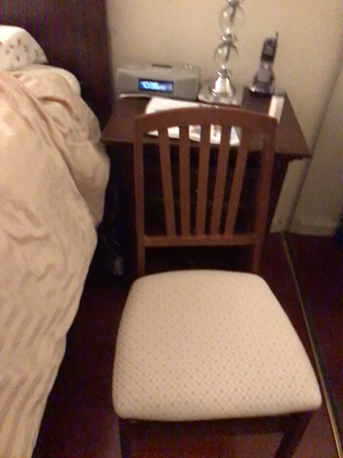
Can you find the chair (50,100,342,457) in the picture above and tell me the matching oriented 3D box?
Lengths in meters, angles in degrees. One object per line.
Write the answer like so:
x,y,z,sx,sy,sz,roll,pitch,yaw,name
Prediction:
0.097,0.271,1.071,0.620,1.032,0.695,-2,40,-7,chair
